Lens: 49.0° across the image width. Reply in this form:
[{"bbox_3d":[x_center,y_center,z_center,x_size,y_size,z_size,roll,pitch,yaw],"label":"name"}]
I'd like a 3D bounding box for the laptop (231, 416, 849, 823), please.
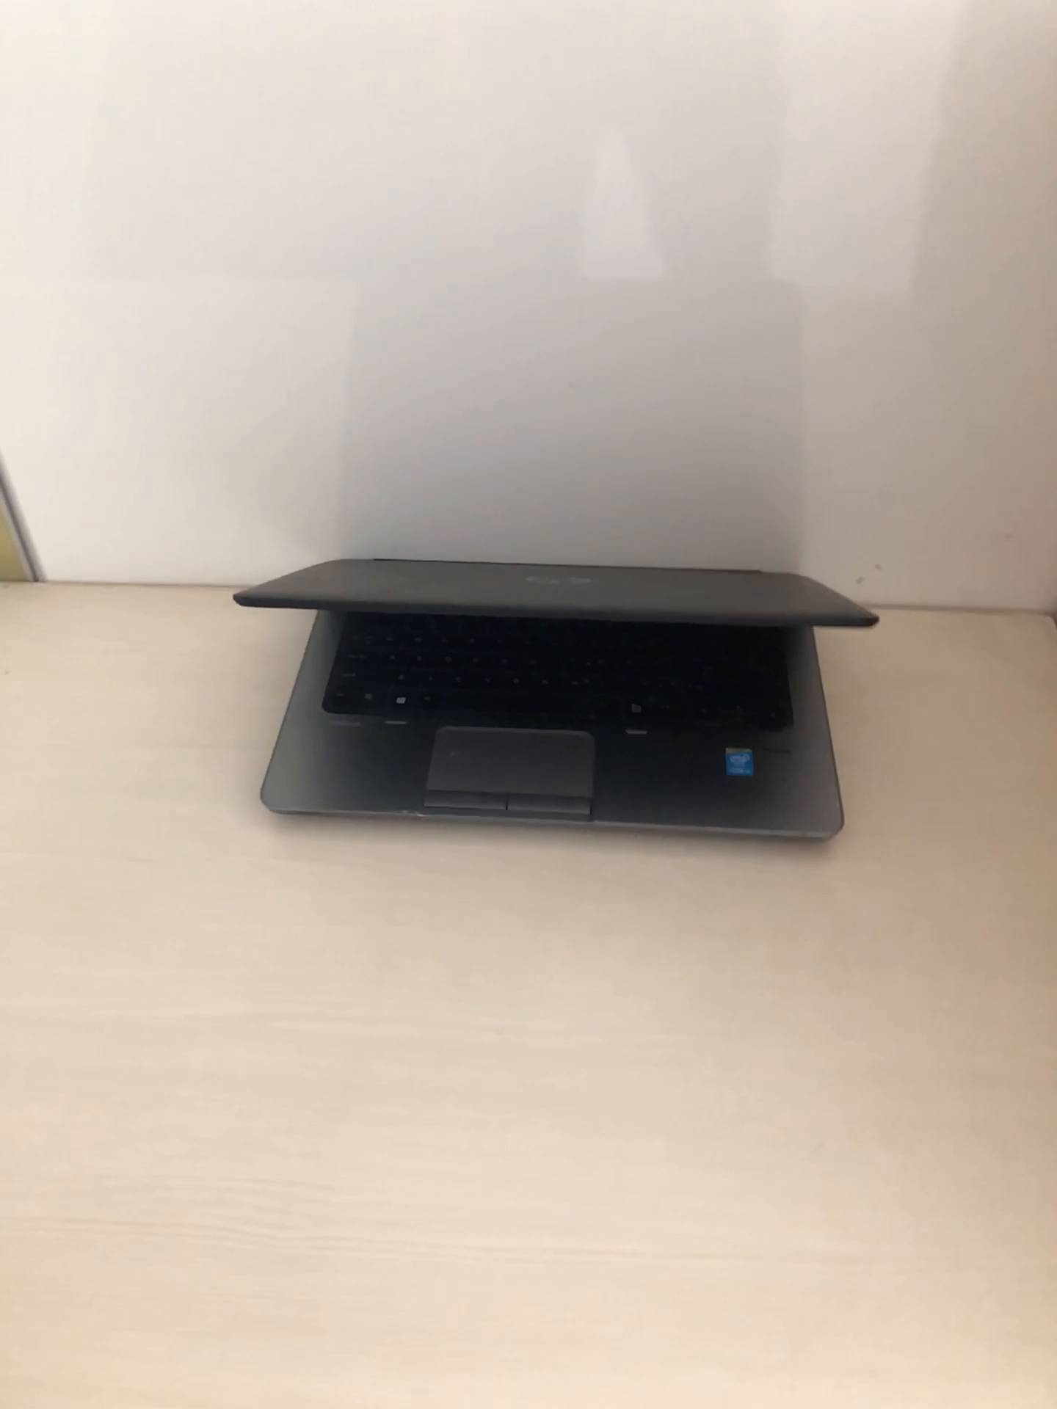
[{"bbox_3d":[0.012,-0.060,0.717,0.319,0.118,0.221,2,45,2],"label":"laptop"}]
